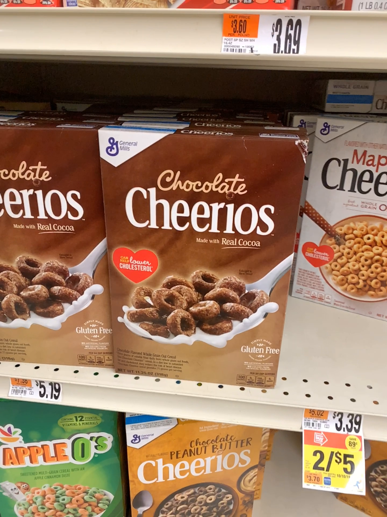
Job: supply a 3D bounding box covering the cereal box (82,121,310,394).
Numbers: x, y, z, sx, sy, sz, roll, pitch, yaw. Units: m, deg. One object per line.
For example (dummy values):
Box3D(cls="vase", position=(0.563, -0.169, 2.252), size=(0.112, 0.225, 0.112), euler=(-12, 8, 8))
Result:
Box3D(cls="cereal box", position=(-0.001, 0.008, 0.454), size=(0.210, 0.298, 0.060), euler=(5, 26, 7))
